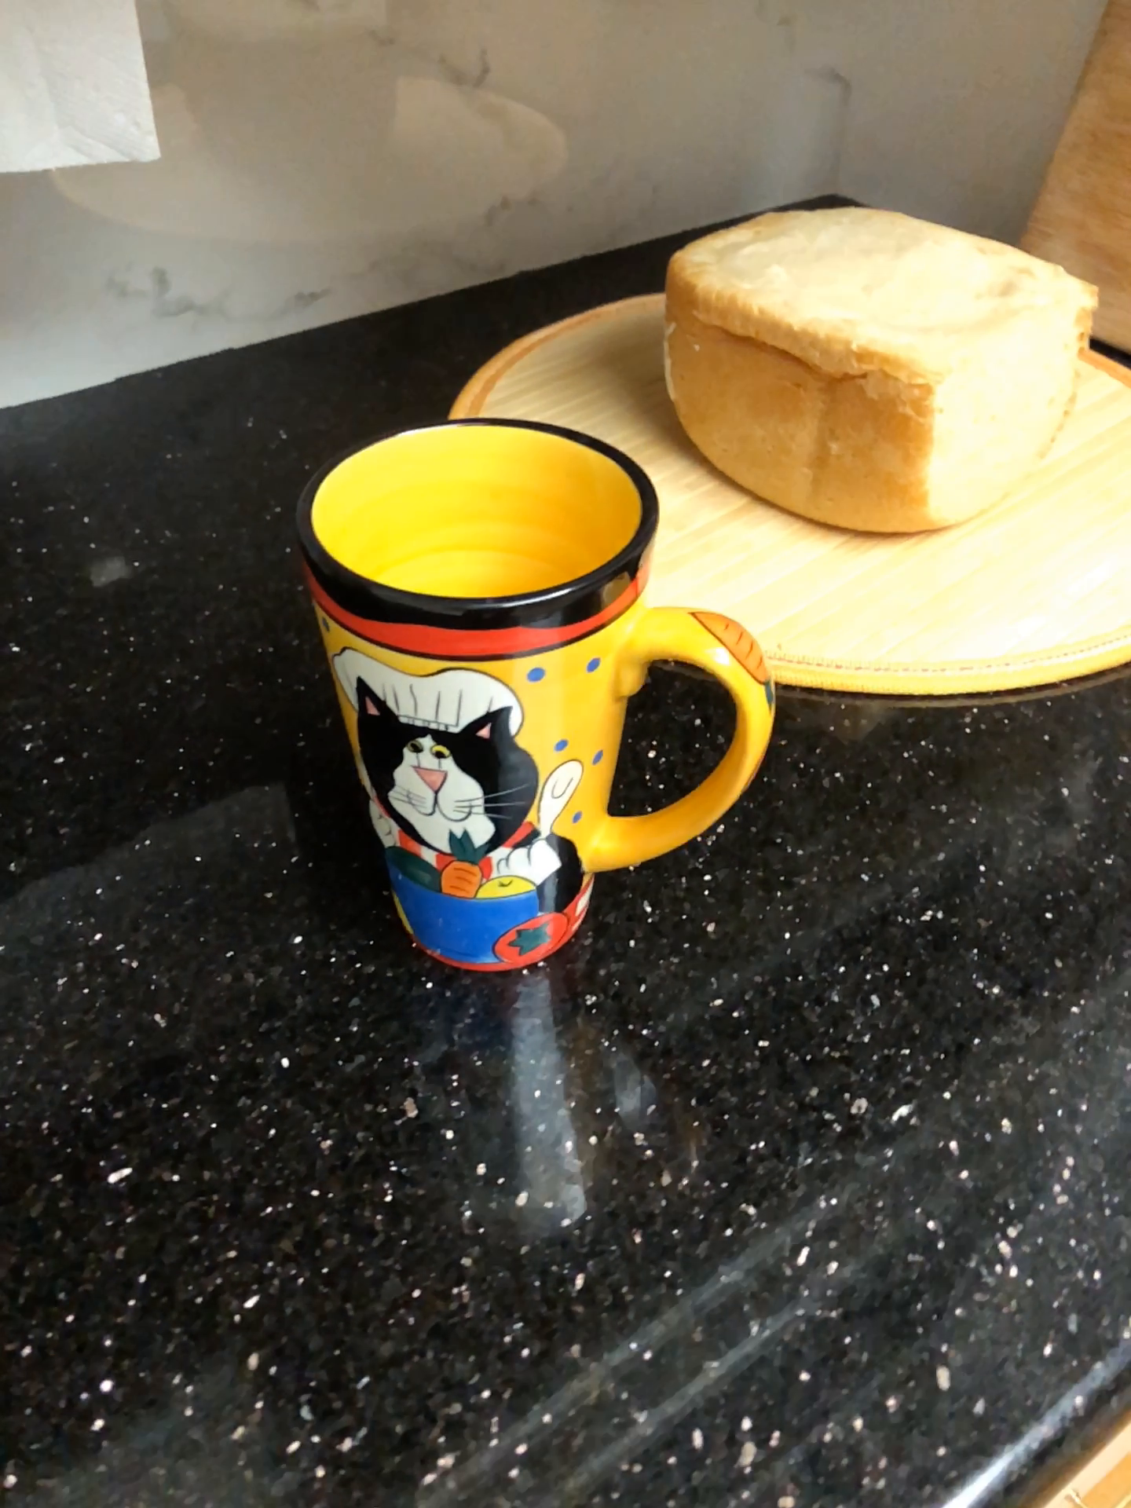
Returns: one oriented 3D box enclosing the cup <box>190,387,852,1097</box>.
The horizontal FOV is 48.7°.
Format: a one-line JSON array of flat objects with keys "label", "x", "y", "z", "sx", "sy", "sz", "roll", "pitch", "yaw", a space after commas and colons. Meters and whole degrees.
[{"label": "cup", "x": -0.008, "y": -0.004, "z": 0.340, "sx": 0.130, "sy": 0.139, "sz": 0.090, "roll": 16, "pitch": 44, "yaw": 16}]
